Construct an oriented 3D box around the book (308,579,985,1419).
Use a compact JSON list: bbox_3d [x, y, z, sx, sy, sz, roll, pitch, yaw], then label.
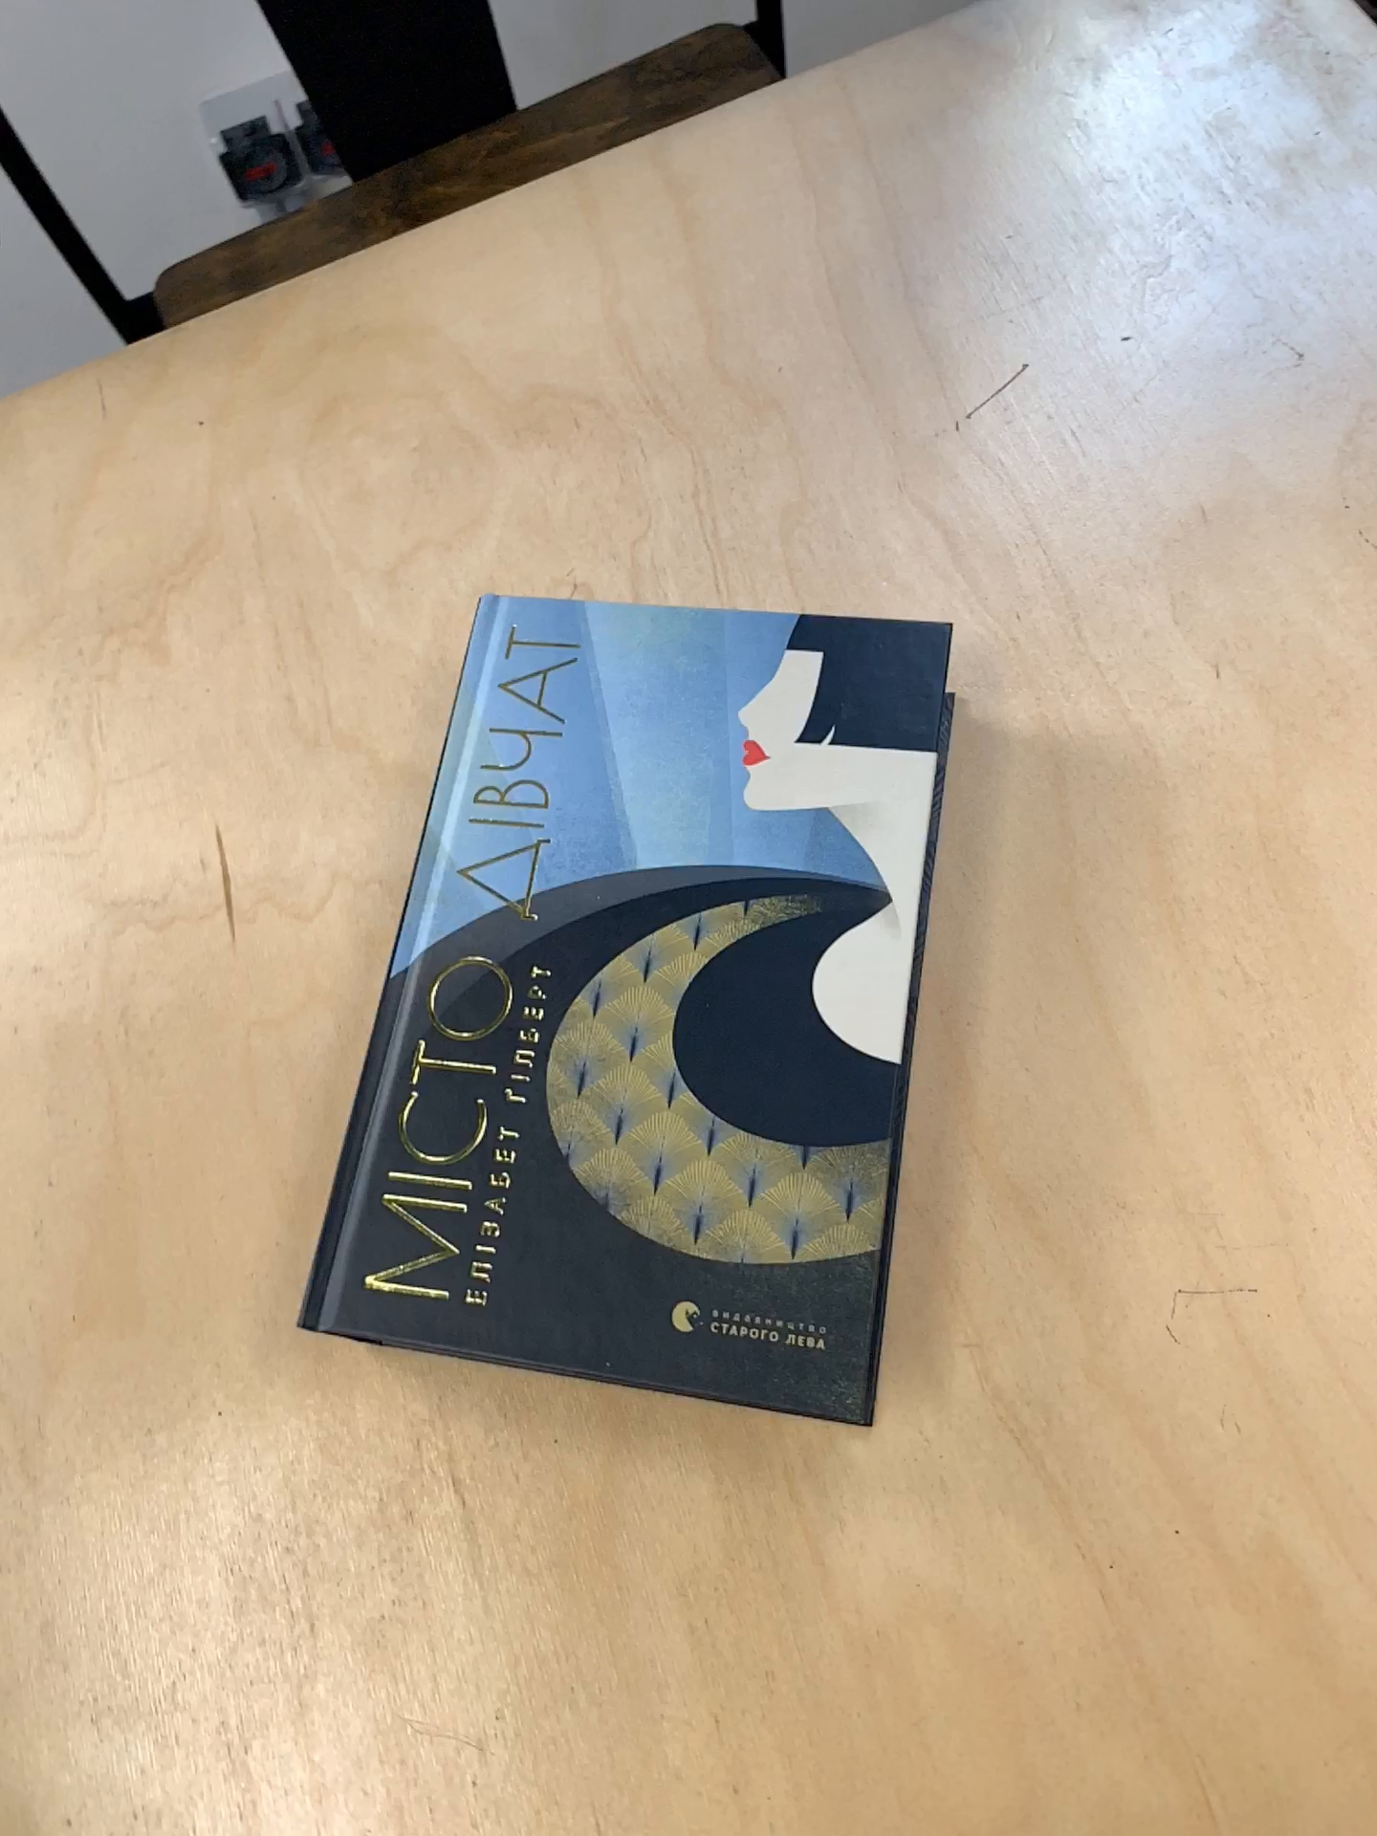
[{"bbox_3d":[-0.003,0.013,0.363,0.134,0.043,0.197,6,71,12],"label":"book"}]
